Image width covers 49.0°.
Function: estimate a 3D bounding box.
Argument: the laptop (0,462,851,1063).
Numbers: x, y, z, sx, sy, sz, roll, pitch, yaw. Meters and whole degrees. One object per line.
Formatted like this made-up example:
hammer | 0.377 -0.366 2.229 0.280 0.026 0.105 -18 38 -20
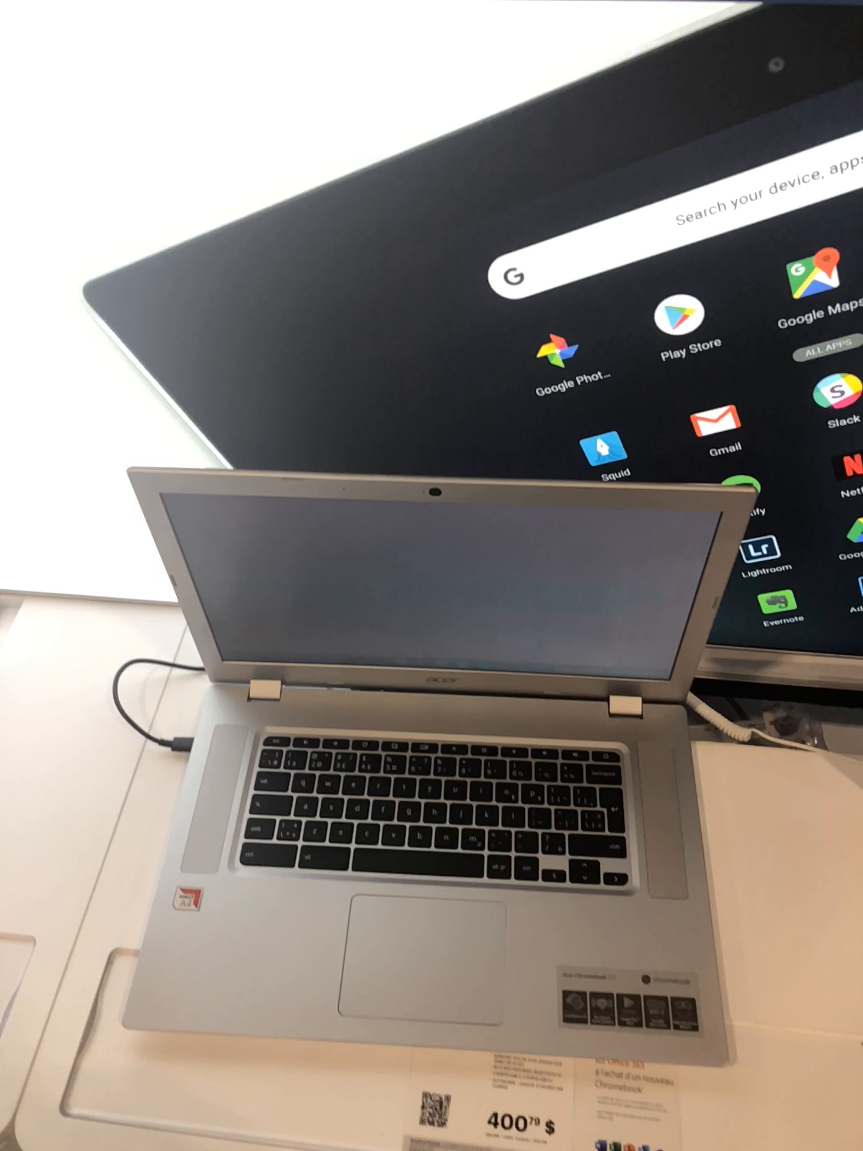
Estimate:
laptop | -0.004 0.115 0.582 0.377 0.250 0.265 2 50 4
